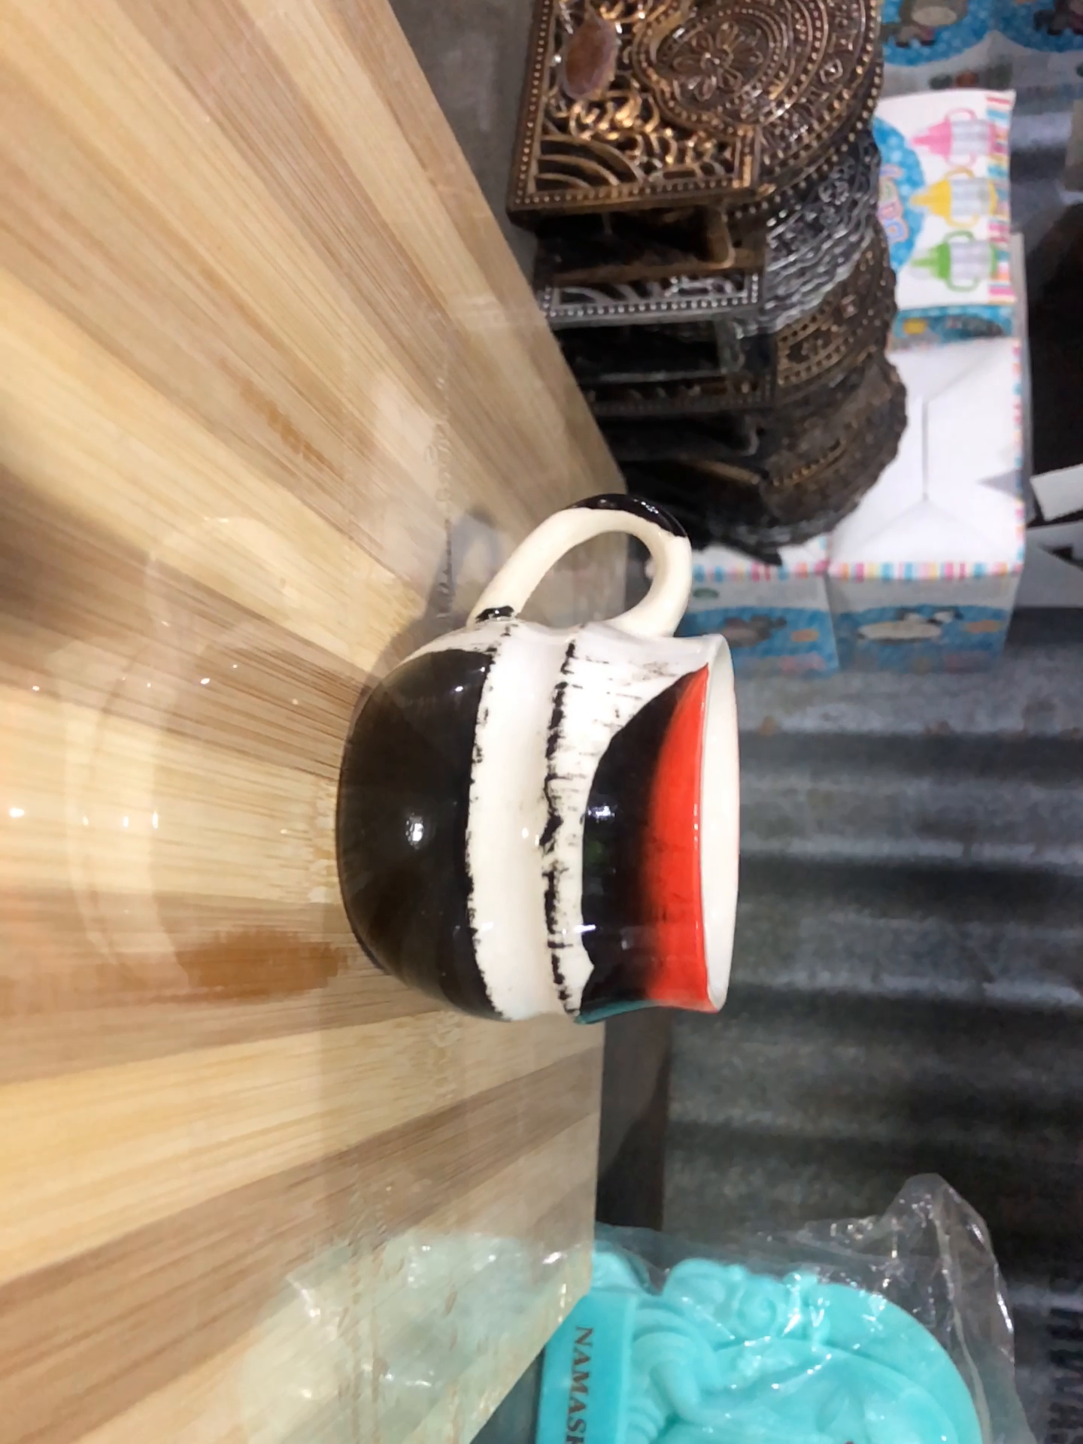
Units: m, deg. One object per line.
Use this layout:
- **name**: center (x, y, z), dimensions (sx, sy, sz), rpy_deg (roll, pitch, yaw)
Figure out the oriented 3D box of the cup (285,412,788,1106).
- **cup**: center (0.009, 0.010, 0.207), dimensions (0.080, 0.060, 0.090), rpy_deg (66, 28, -61)
